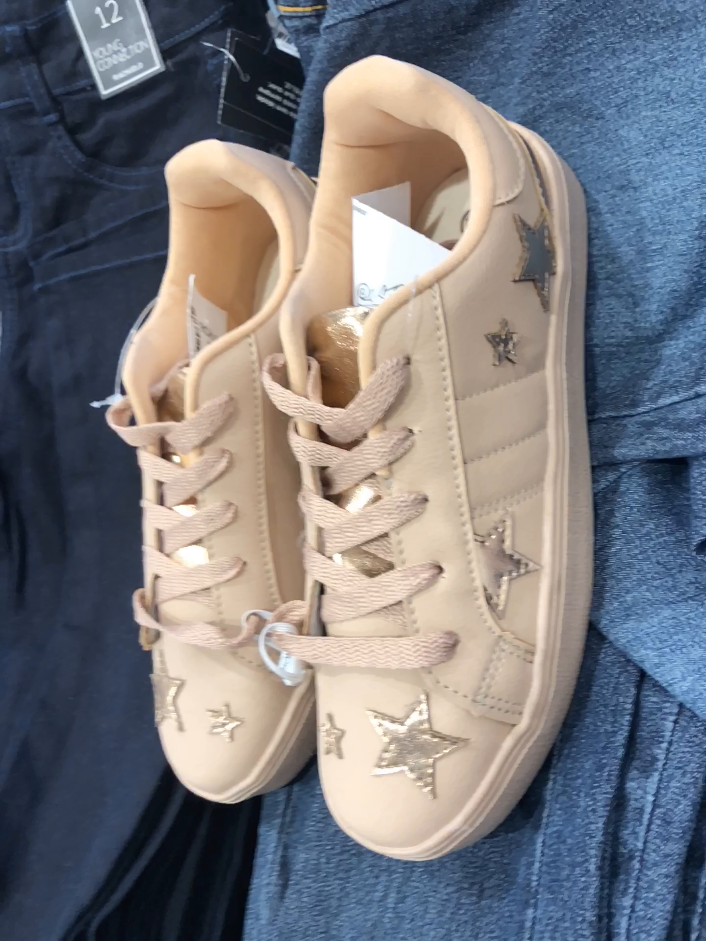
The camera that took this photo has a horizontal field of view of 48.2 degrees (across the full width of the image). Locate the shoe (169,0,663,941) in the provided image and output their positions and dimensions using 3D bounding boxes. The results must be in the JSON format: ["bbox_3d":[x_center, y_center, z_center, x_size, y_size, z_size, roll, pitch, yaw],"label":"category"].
[{"bbox_3d":[0.027,-0.004,0.245,0.090,0.090,0.250,-2,77,43],"label":"shoe"}]

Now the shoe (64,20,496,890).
[{"bbox_3d":[-0.026,-0.005,0.288,0.090,0.090,0.250,5,88,45],"label":"shoe"}]
